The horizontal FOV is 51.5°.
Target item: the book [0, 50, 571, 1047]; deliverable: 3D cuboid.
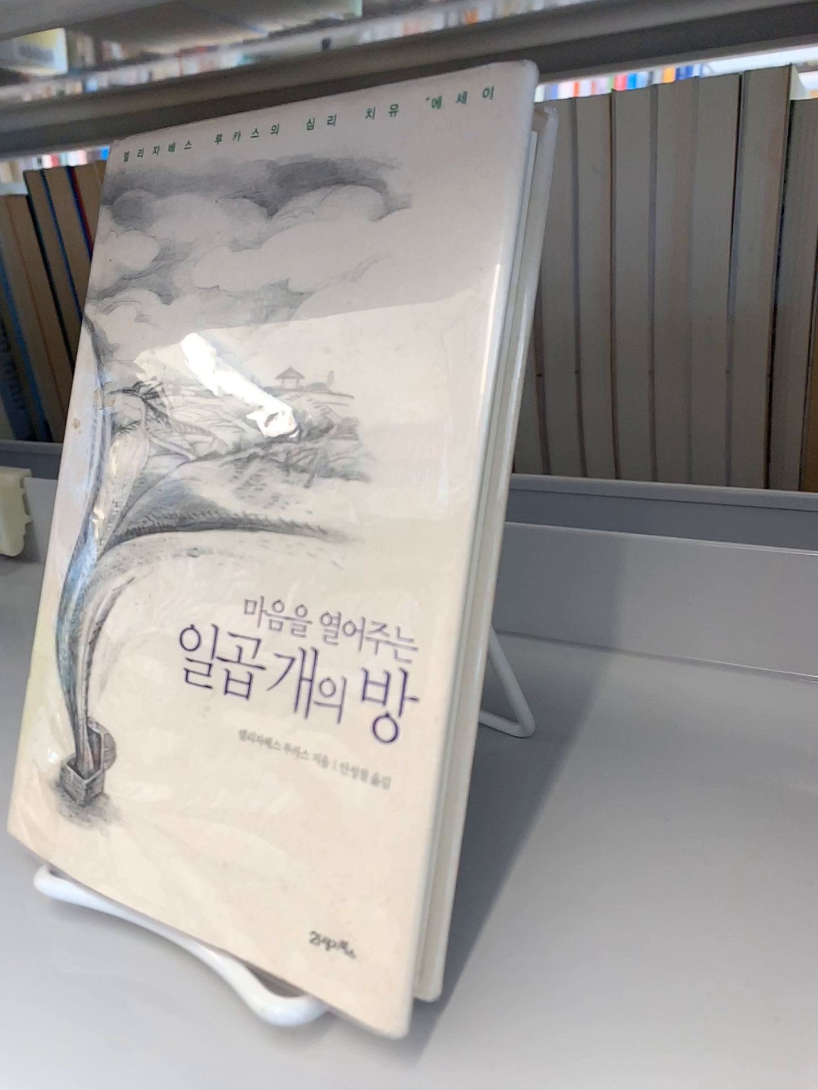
[{"bbox_3d":[-0.042,-0.007,0.206,0.137,0.192,0.019,9,2,32],"label":"book"}]
